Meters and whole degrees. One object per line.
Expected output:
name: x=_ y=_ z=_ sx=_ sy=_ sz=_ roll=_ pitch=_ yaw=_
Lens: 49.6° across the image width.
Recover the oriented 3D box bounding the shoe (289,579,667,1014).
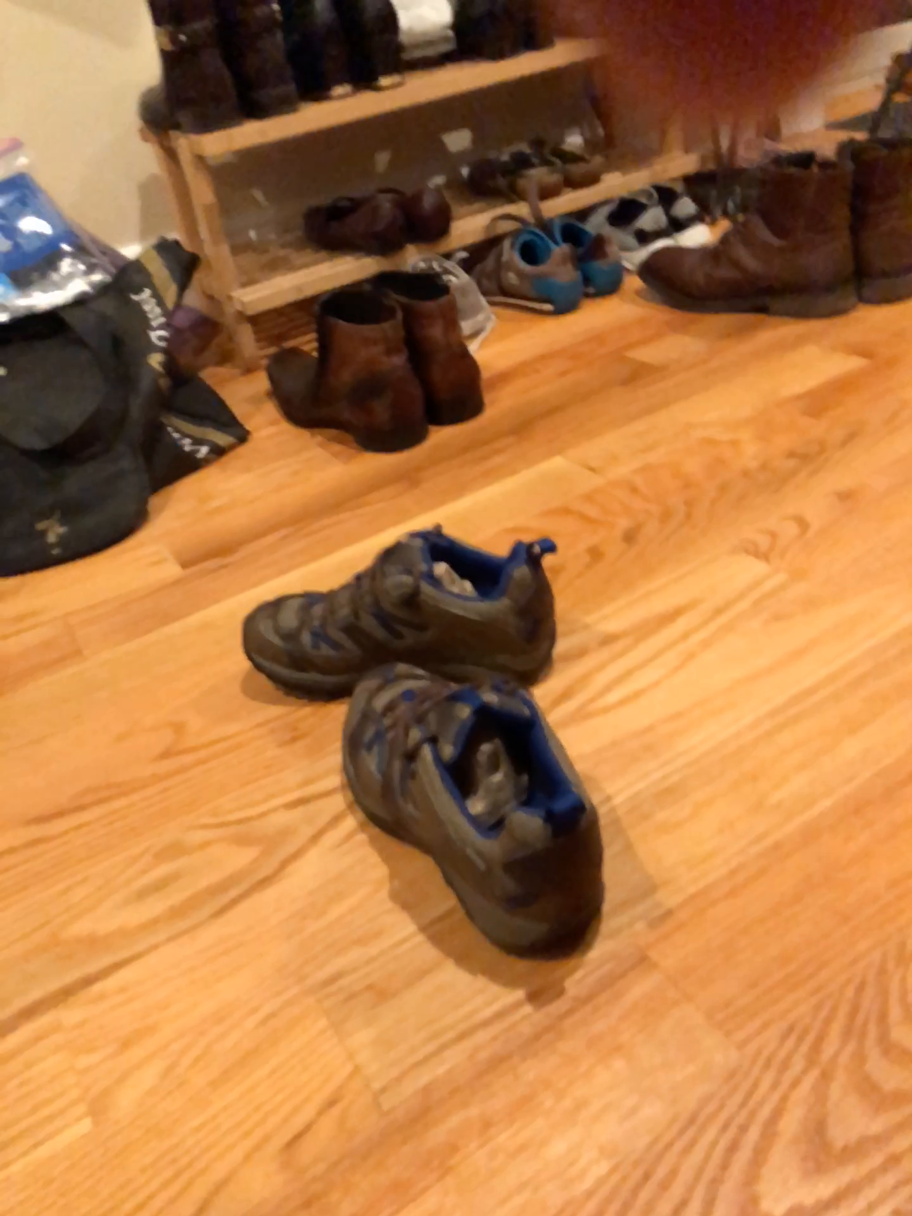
shoe: x=0.004 y=0.093 z=0.577 sx=0.095 sy=0.106 sz=0.241 roll=-25 pitch=36 yaw=-21

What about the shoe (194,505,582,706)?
shoe: x=-0.041 y=-0.001 z=0.710 sx=0.251 sy=0.094 sz=0.097 roll=-3 pitch=34 yaw=12
